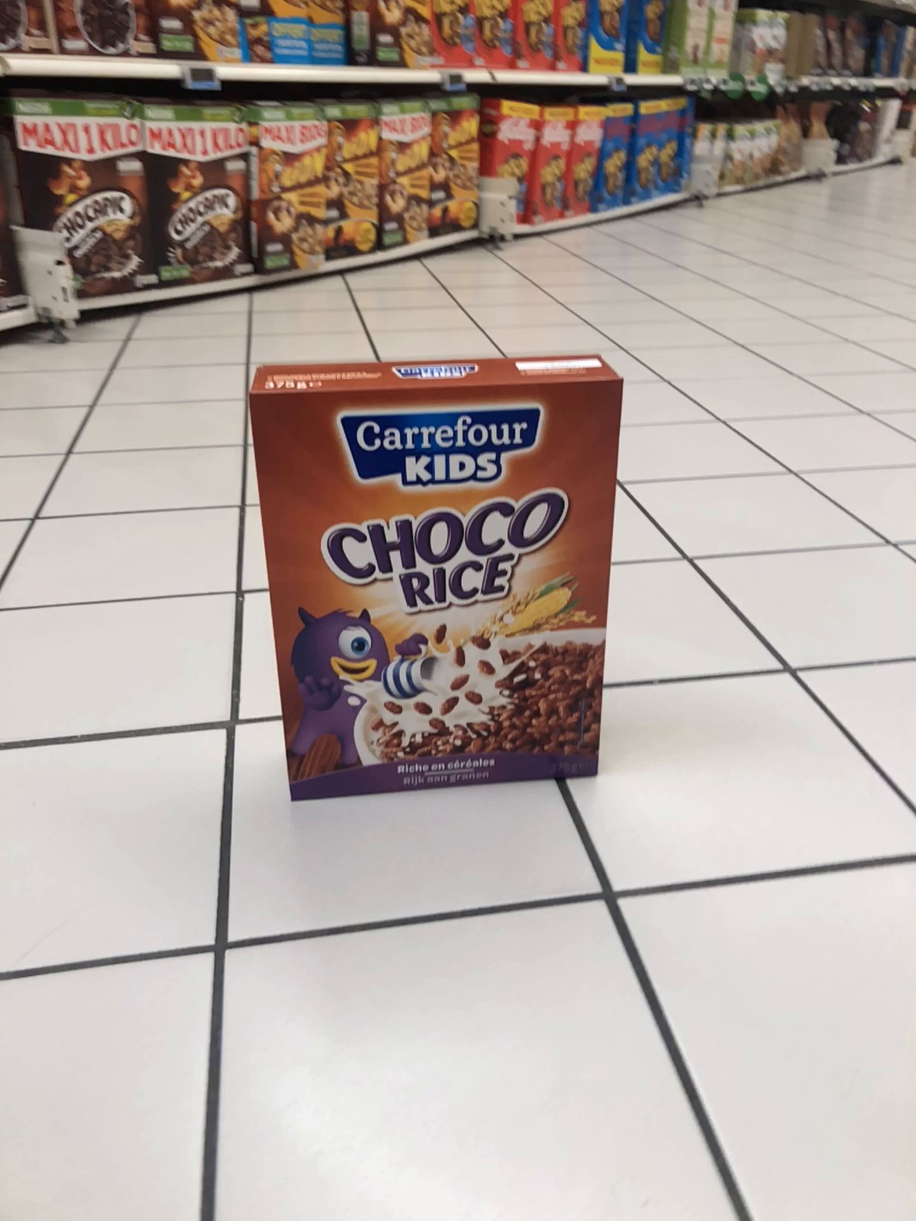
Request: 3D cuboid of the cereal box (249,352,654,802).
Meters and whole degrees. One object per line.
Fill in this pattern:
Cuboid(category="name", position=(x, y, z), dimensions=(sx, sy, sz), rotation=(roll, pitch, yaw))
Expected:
Cuboid(category="cereal box", position=(-0.004, -0.017, 0.577), dimensions=(0.200, 0.239, 0.070), rotation=(-4, 27, -6))
